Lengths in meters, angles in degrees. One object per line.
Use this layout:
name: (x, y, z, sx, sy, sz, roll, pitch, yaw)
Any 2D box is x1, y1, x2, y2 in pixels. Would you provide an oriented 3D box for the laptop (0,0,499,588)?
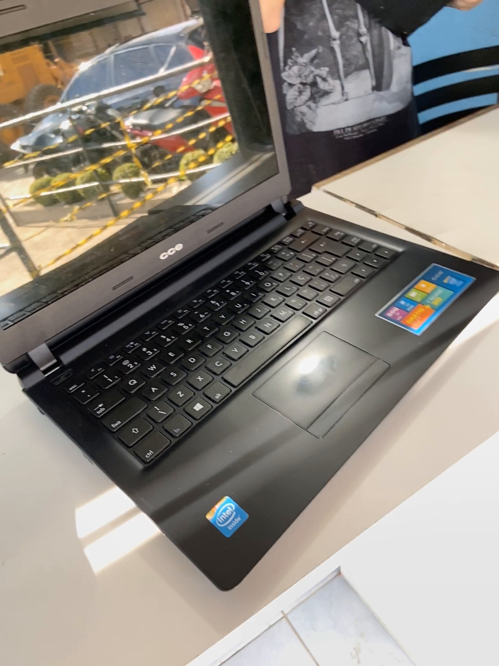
laptop: (-0.011, -0.099, 0.346, 0.267, 0.216, 0.324, 29, 54, 36)
